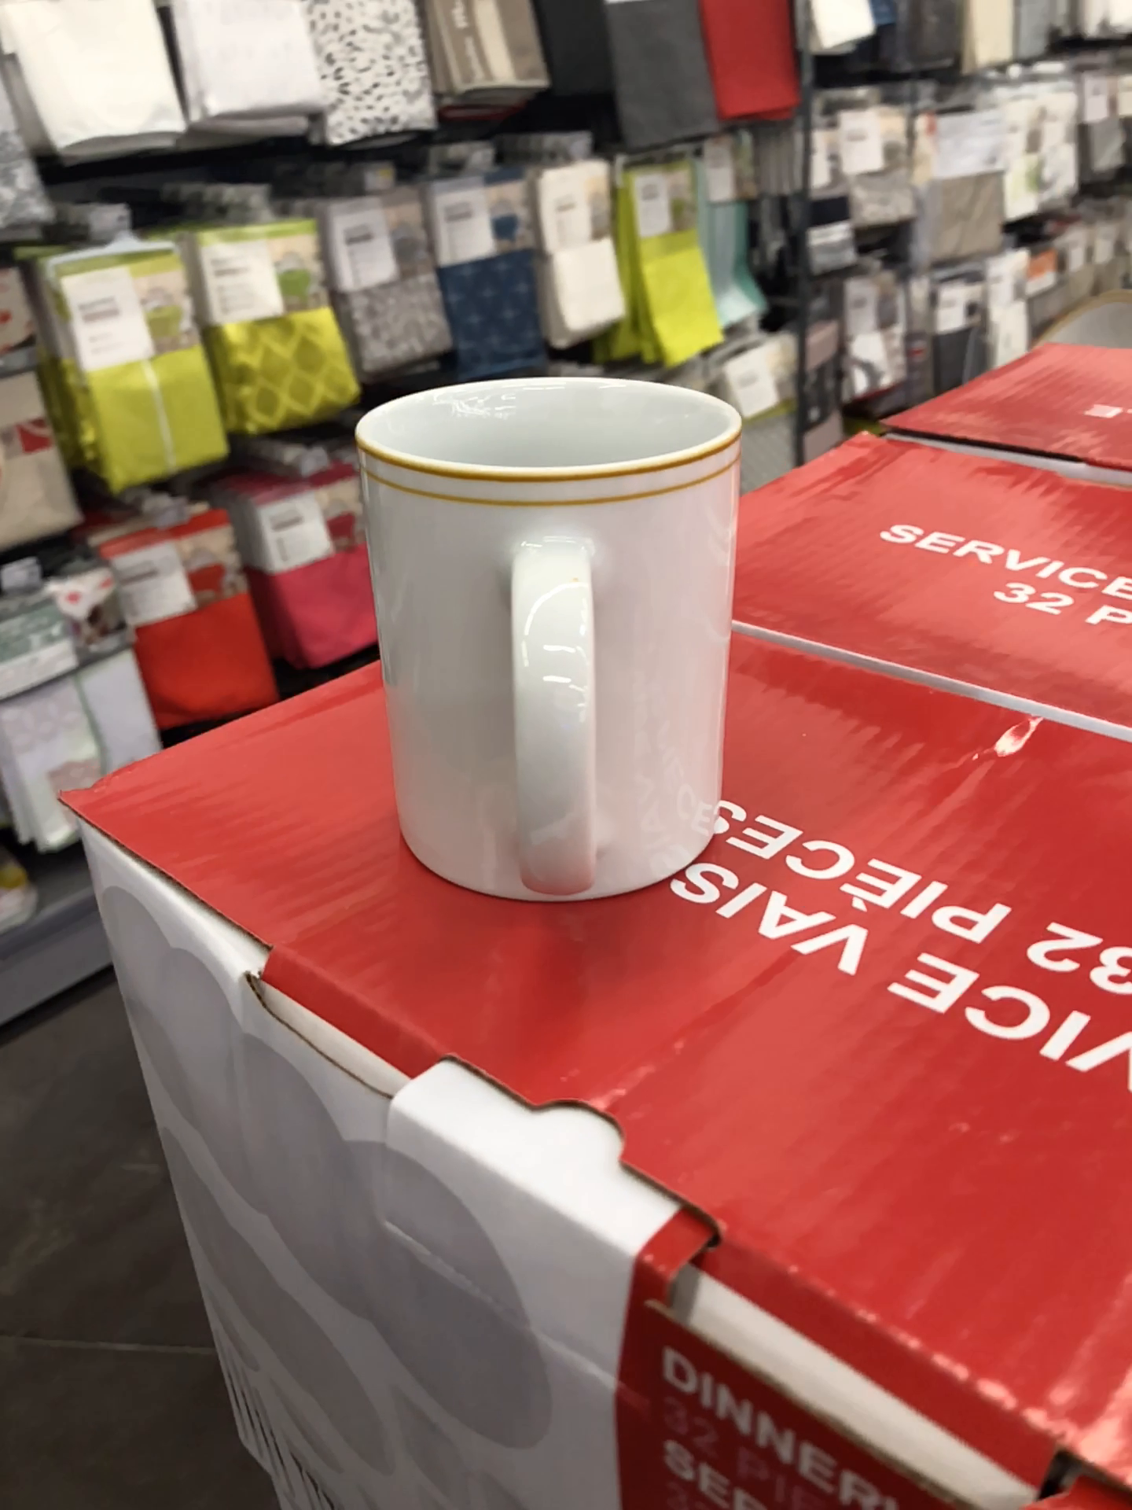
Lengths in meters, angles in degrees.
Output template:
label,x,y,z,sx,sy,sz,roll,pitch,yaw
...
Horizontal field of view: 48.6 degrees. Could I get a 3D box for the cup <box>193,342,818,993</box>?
label,x,y,z,sx,sy,sz,roll,pitch,yaw
cup,-0.006,-0.025,0.265,0.096,0.091,0.116,-1,31,3
